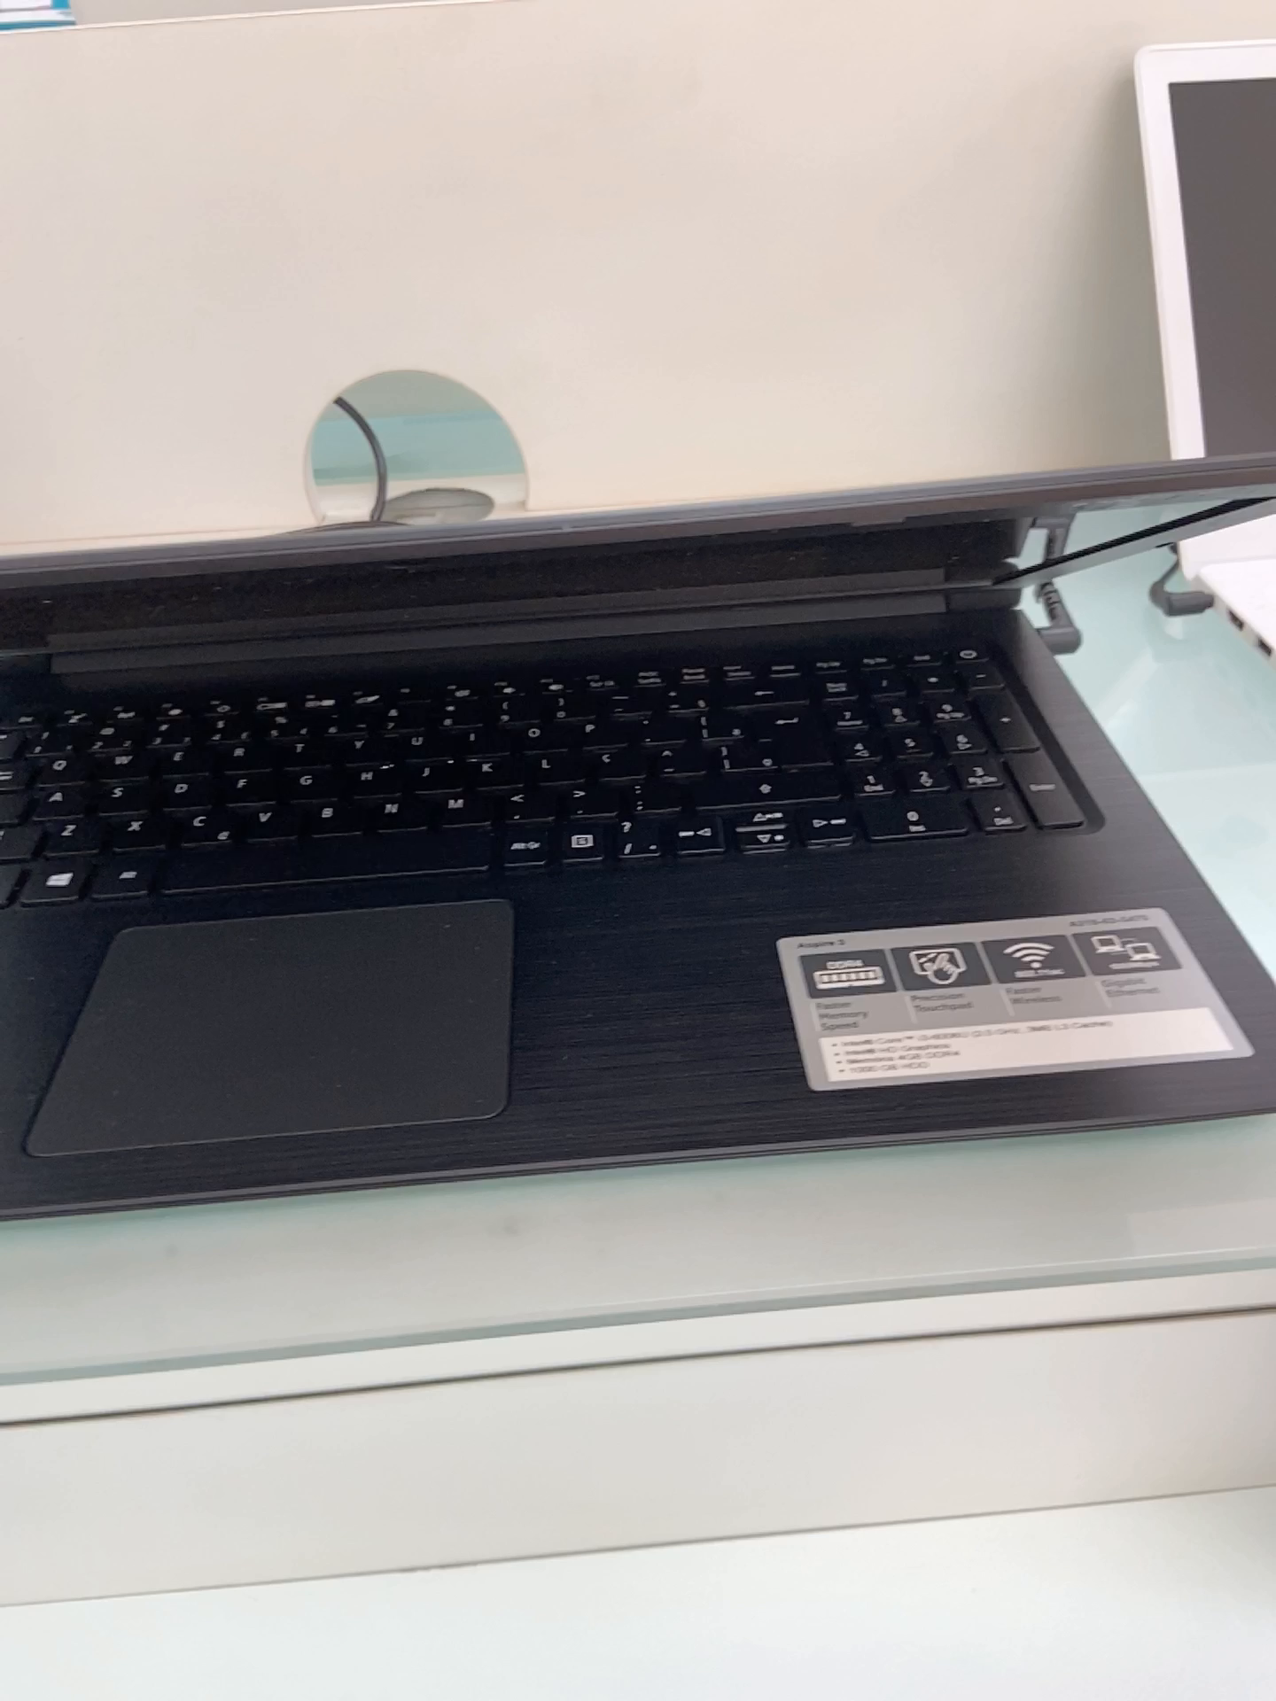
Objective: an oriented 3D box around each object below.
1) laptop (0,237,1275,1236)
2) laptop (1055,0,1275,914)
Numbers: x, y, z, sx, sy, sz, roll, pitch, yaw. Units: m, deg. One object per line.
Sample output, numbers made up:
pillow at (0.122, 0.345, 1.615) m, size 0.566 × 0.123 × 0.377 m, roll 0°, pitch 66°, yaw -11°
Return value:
laptop at (-0.046, -0.054, 0.344) m, size 0.378 × 0.123 × 0.241 m, roll -5°, pitch 36°, yaw 0°
laptop at (0.396, -0.169, 0.436) m, size 0.381 × 0.165 × 0.353 m, roll -5°, pitch 36°, yaw -4°
